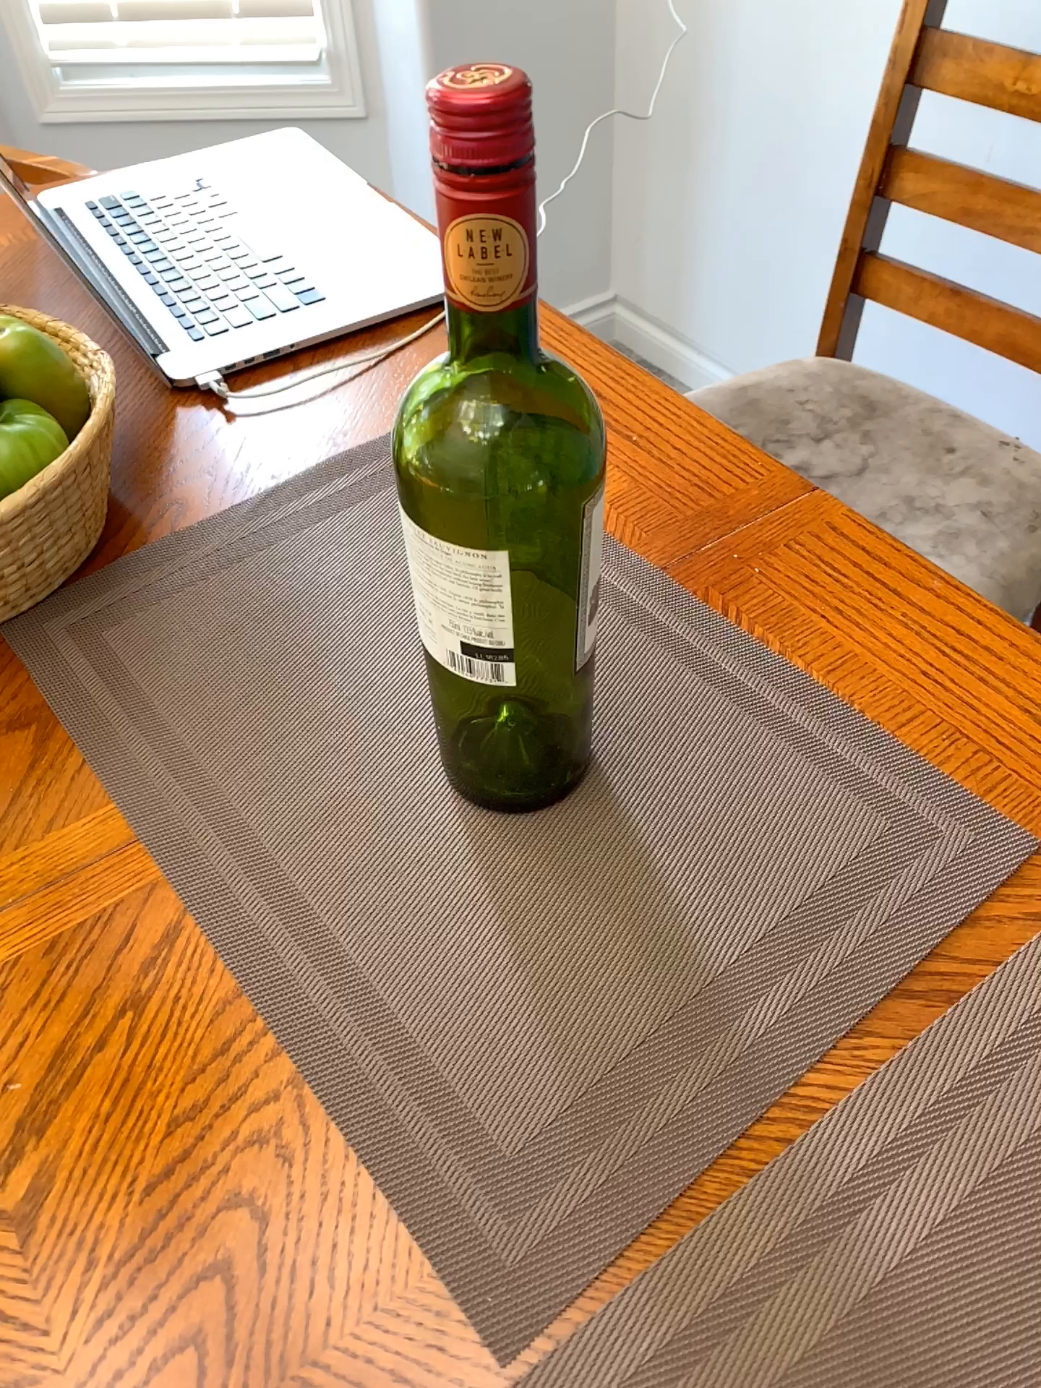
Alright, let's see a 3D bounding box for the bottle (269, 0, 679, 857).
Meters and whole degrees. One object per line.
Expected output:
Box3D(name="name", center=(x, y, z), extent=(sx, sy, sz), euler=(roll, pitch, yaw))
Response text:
Box3D(name="bottle", center=(-0.010, -0.074, 0.412), extent=(0.080, 0.307, 0.091), euler=(-27, 52, -21))
